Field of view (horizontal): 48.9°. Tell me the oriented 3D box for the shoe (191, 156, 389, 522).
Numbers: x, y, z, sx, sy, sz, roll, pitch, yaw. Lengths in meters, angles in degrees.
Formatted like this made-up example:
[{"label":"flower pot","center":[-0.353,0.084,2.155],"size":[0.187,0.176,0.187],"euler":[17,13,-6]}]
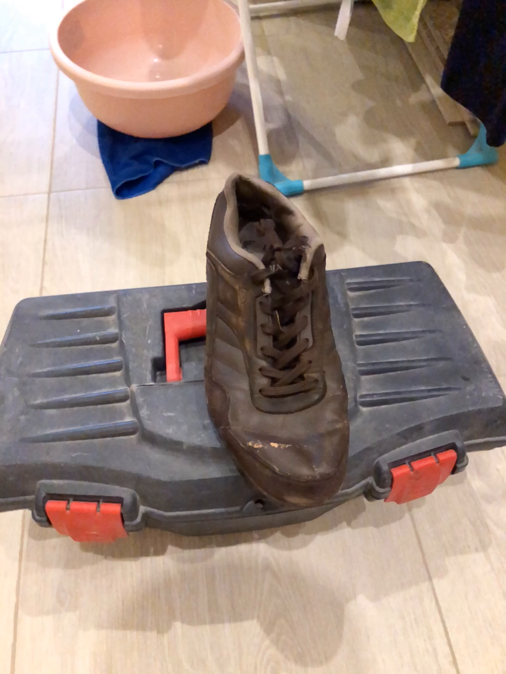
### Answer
[{"label":"shoe","center":[0.014,-0.011,0.451],"size":[0.110,0.099,0.281],"euler":[-4,56,-3]}]
